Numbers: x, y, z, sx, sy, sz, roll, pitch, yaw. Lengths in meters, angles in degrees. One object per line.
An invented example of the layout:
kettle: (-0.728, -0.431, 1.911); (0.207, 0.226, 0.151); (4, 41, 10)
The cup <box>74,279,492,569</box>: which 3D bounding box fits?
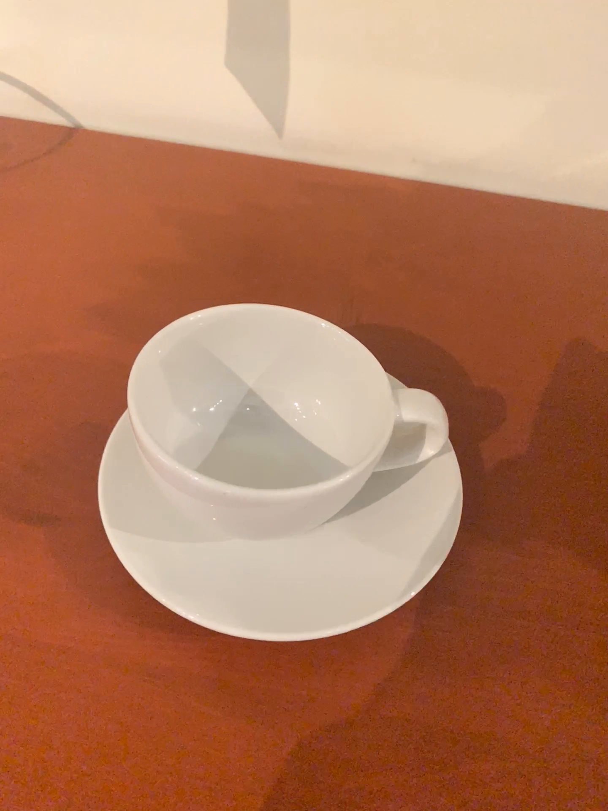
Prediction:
cup: (-0.007, 0.005, 0.212); (0.110, 0.050, 0.080); (2, 47, -4)
